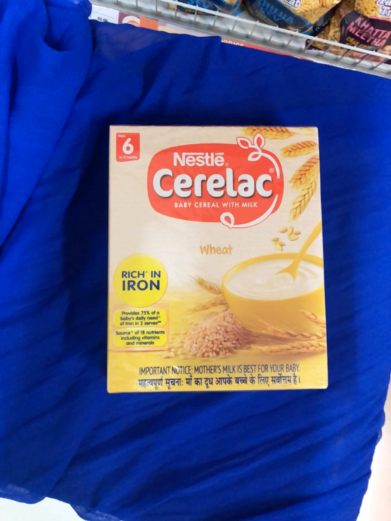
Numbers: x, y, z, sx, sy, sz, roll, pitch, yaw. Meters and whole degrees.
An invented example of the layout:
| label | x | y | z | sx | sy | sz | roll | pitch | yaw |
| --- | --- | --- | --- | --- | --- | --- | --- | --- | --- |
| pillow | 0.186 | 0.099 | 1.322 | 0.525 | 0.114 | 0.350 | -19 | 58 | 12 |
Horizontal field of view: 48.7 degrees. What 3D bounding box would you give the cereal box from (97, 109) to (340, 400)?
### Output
| label | x | y | z | sx | sy | sz | roll | pitch | yaw |
| --- | --- | --- | --- | --- | --- | --- | --- | --- | --- |
| cereal box | 0.013 | -0.004 | 0.319 | 0.160 | 0.060 | 0.190 | 0 | 85 | -6 |
